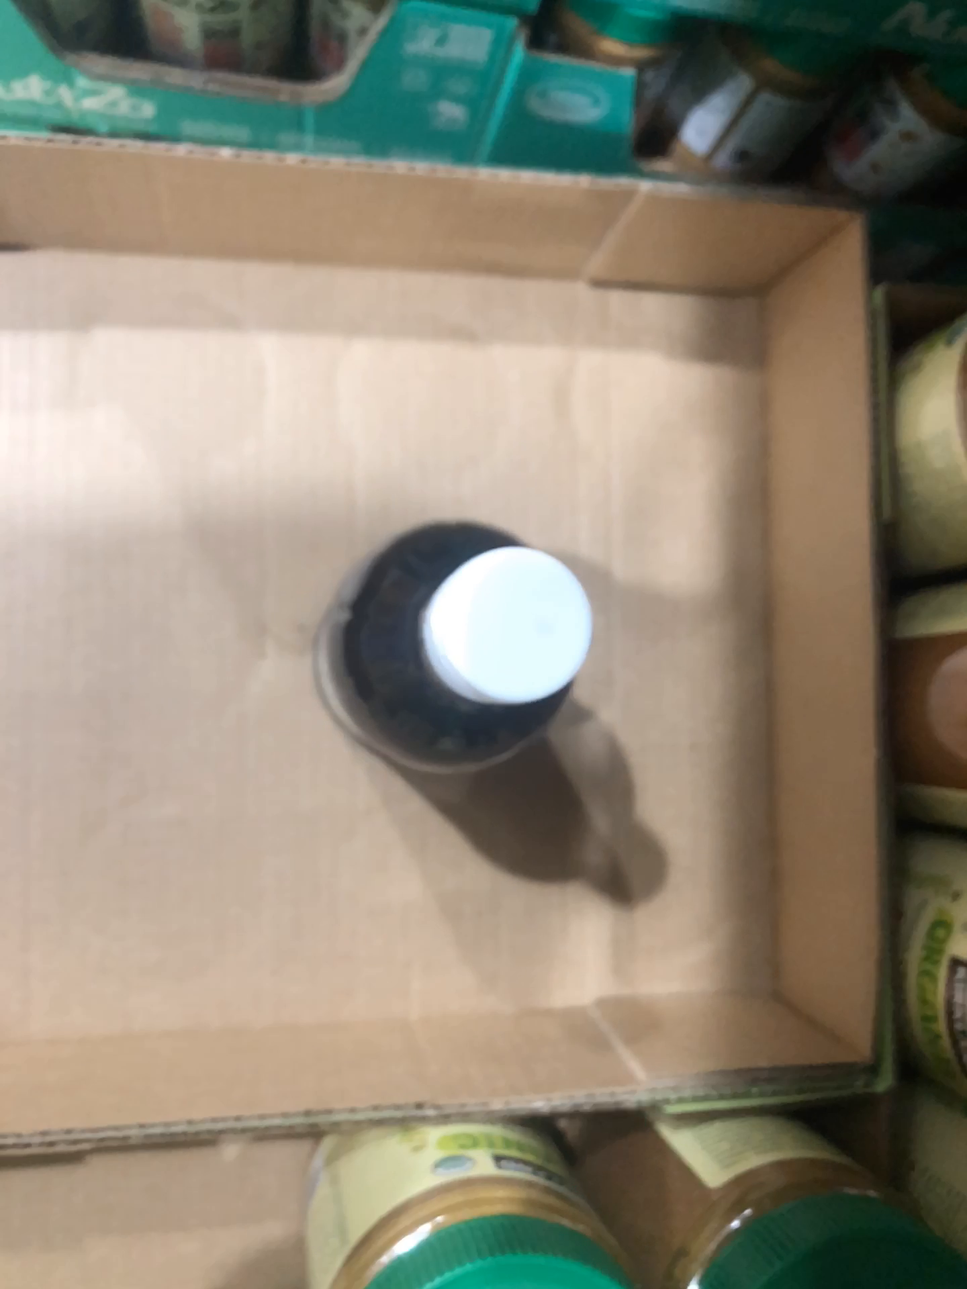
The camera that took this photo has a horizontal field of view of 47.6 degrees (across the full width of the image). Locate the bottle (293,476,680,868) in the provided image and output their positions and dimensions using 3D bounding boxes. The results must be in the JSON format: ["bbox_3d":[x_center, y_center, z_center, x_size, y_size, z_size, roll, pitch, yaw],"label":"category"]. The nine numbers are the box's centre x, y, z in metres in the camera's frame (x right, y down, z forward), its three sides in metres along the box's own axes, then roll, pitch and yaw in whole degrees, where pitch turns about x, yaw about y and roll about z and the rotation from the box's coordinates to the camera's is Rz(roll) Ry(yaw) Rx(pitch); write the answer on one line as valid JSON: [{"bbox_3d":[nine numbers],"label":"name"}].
[{"bbox_3d":[-0.015,0.012,0.309,0.070,0.200,0.070,1,86,-10],"label":"bottle"}]
